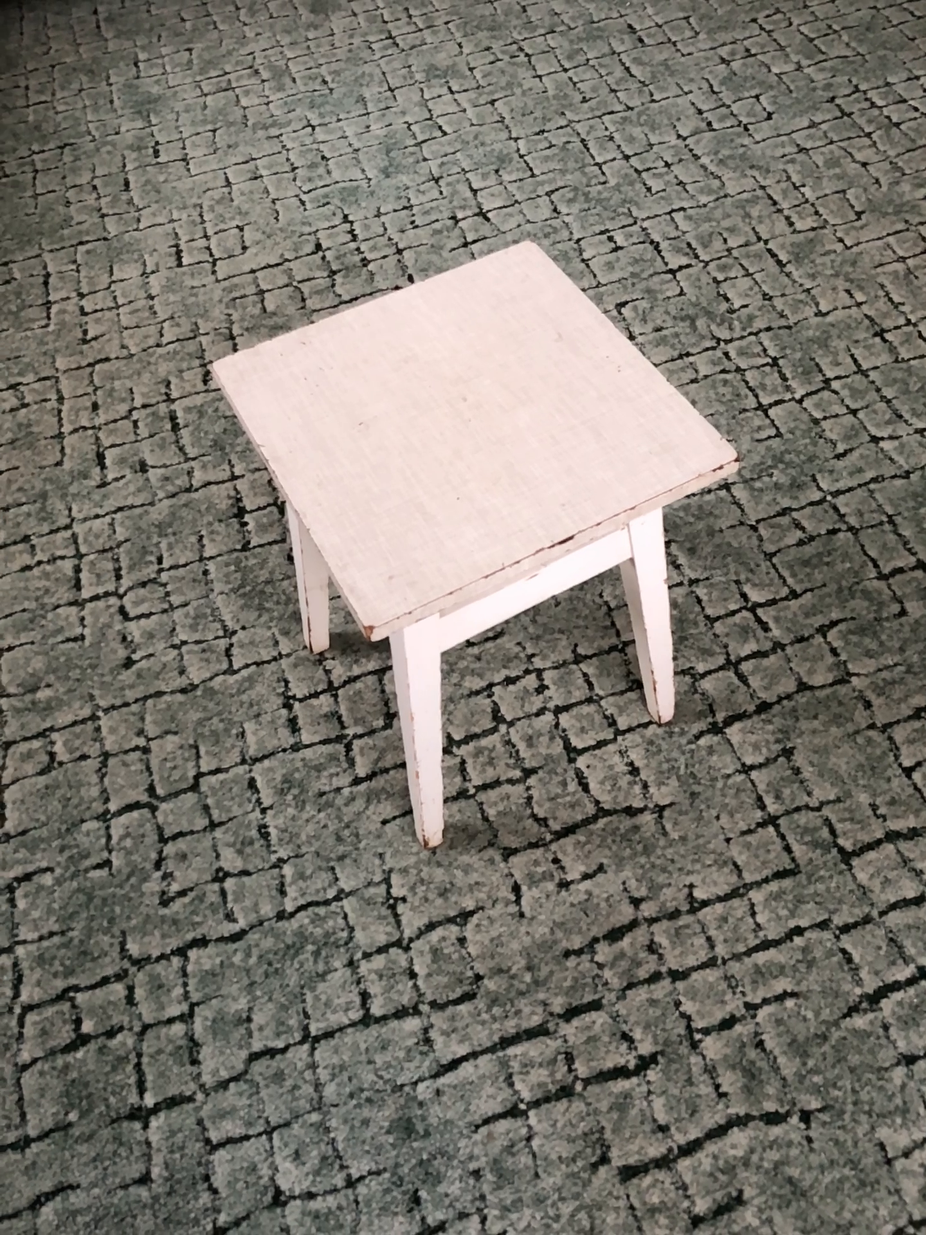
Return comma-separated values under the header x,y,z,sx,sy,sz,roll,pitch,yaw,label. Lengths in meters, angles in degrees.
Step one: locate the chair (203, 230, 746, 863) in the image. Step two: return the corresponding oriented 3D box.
x,y,z,sx,sy,sz,roll,pitch,yaw,label
0.011,-0.053,1.021,0.332,0.447,0.336,-25,57,-12,chair
